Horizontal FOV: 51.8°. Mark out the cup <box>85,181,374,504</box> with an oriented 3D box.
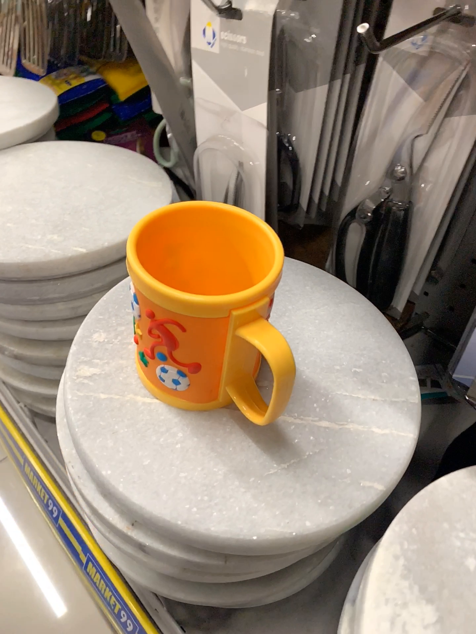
[{"bbox_3d":[-0.010,0.008,0.255,0.080,0.100,0.110,-26,51,-28],"label":"cup"}]
